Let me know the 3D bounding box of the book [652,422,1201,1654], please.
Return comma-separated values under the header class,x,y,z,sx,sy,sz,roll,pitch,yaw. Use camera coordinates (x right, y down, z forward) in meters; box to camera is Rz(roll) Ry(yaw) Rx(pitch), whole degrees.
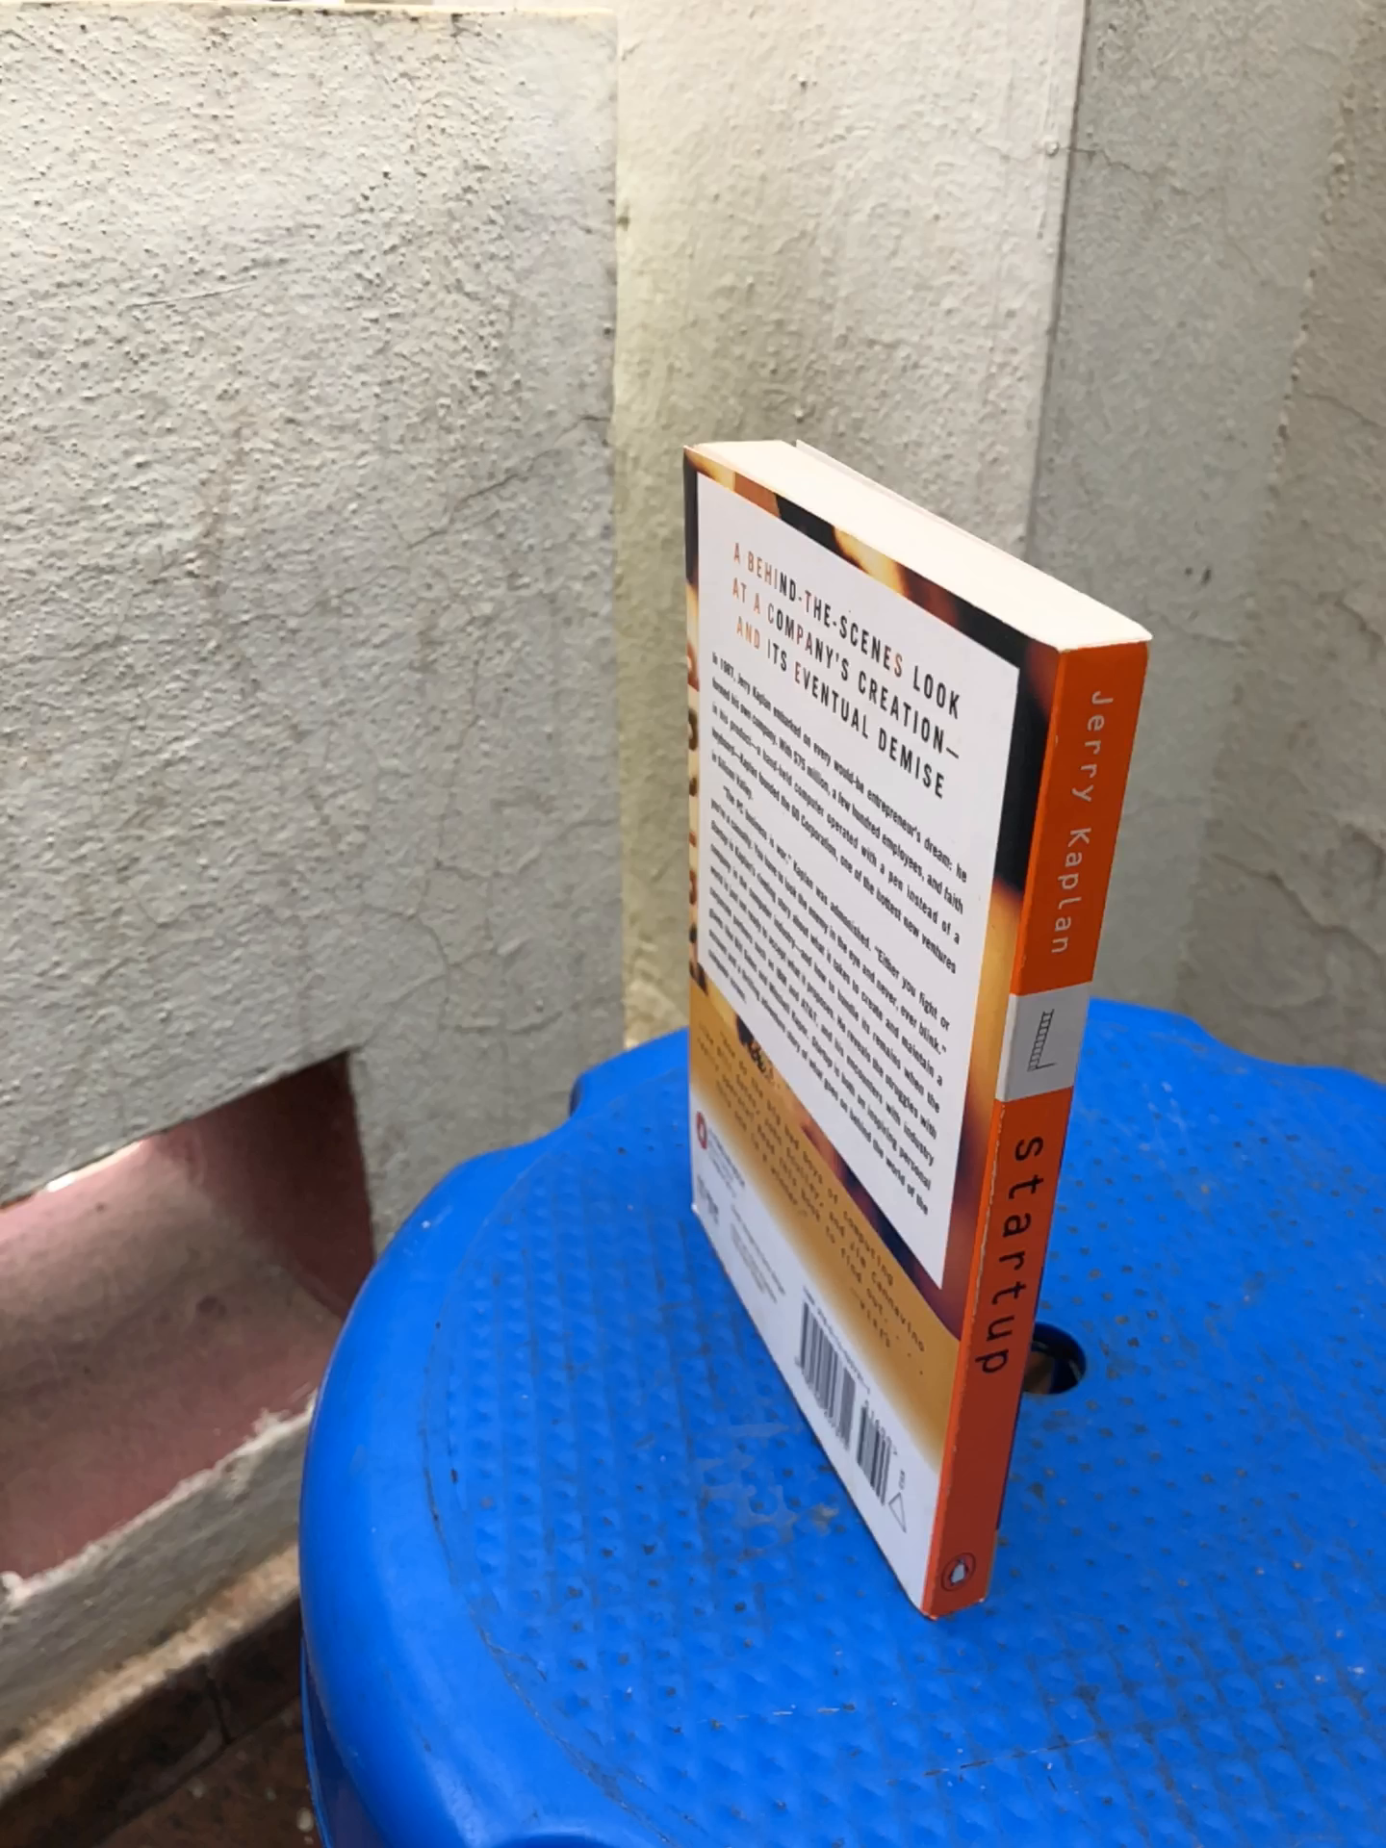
class,x,y,z,sx,sy,sz,roll,pitch,yaw
book,0.029,0.017,0.309,0.030,0.199,0.141,-9,30,-18
